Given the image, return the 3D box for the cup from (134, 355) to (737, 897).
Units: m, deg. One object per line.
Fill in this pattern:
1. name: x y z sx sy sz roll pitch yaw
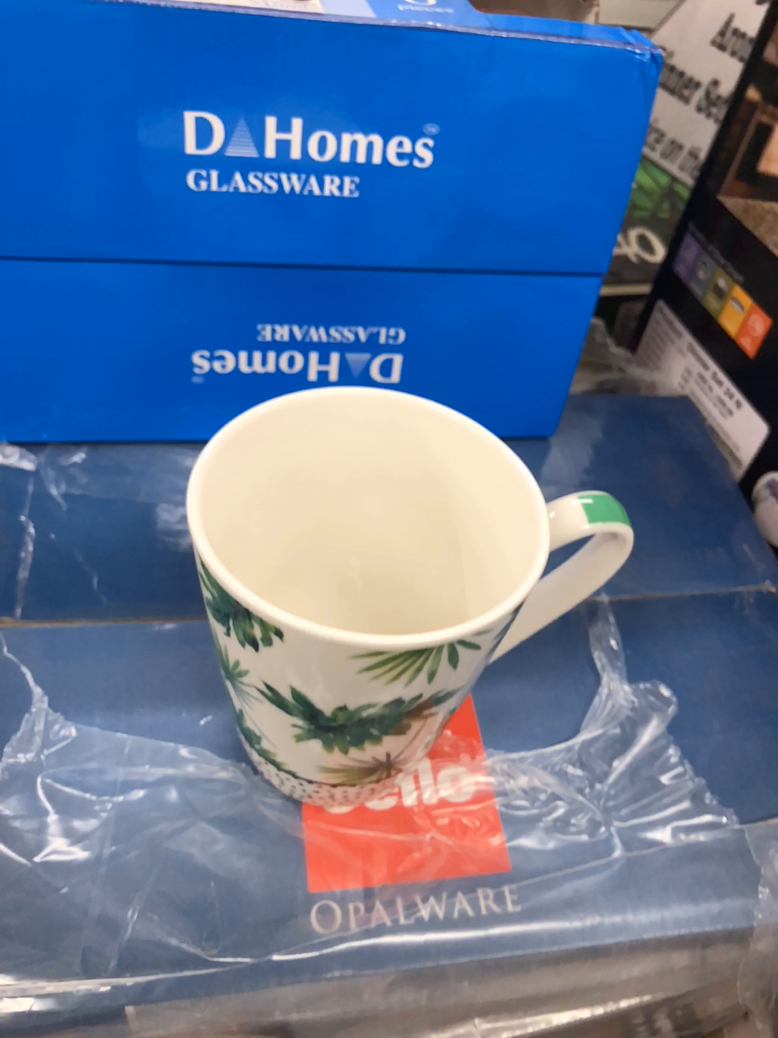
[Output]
1. cup: 0.003 0.027 0.240 0.120 0.099 0.080 -11 52 -19
